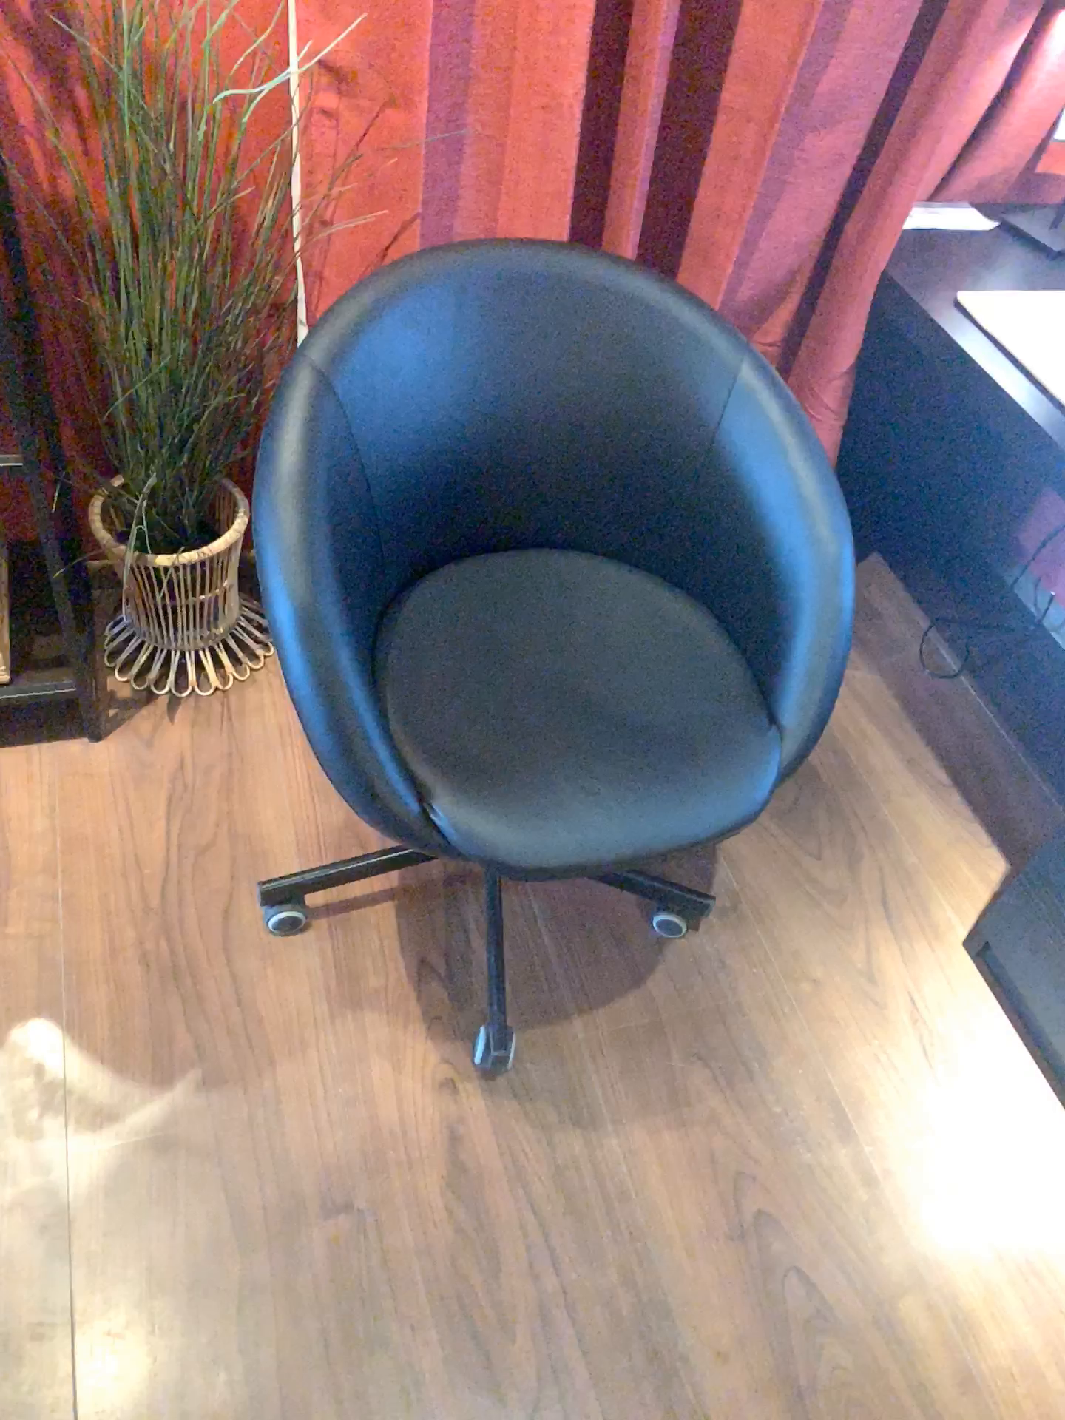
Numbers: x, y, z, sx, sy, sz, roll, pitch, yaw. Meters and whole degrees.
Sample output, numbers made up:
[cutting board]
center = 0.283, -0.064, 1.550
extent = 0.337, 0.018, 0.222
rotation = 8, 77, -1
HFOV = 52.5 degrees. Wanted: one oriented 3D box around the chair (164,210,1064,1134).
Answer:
[chair]
center = 0.012, -0.054, 1.182
extent = 0.621, 0.697, 0.582
rotation = -13, 53, -23
